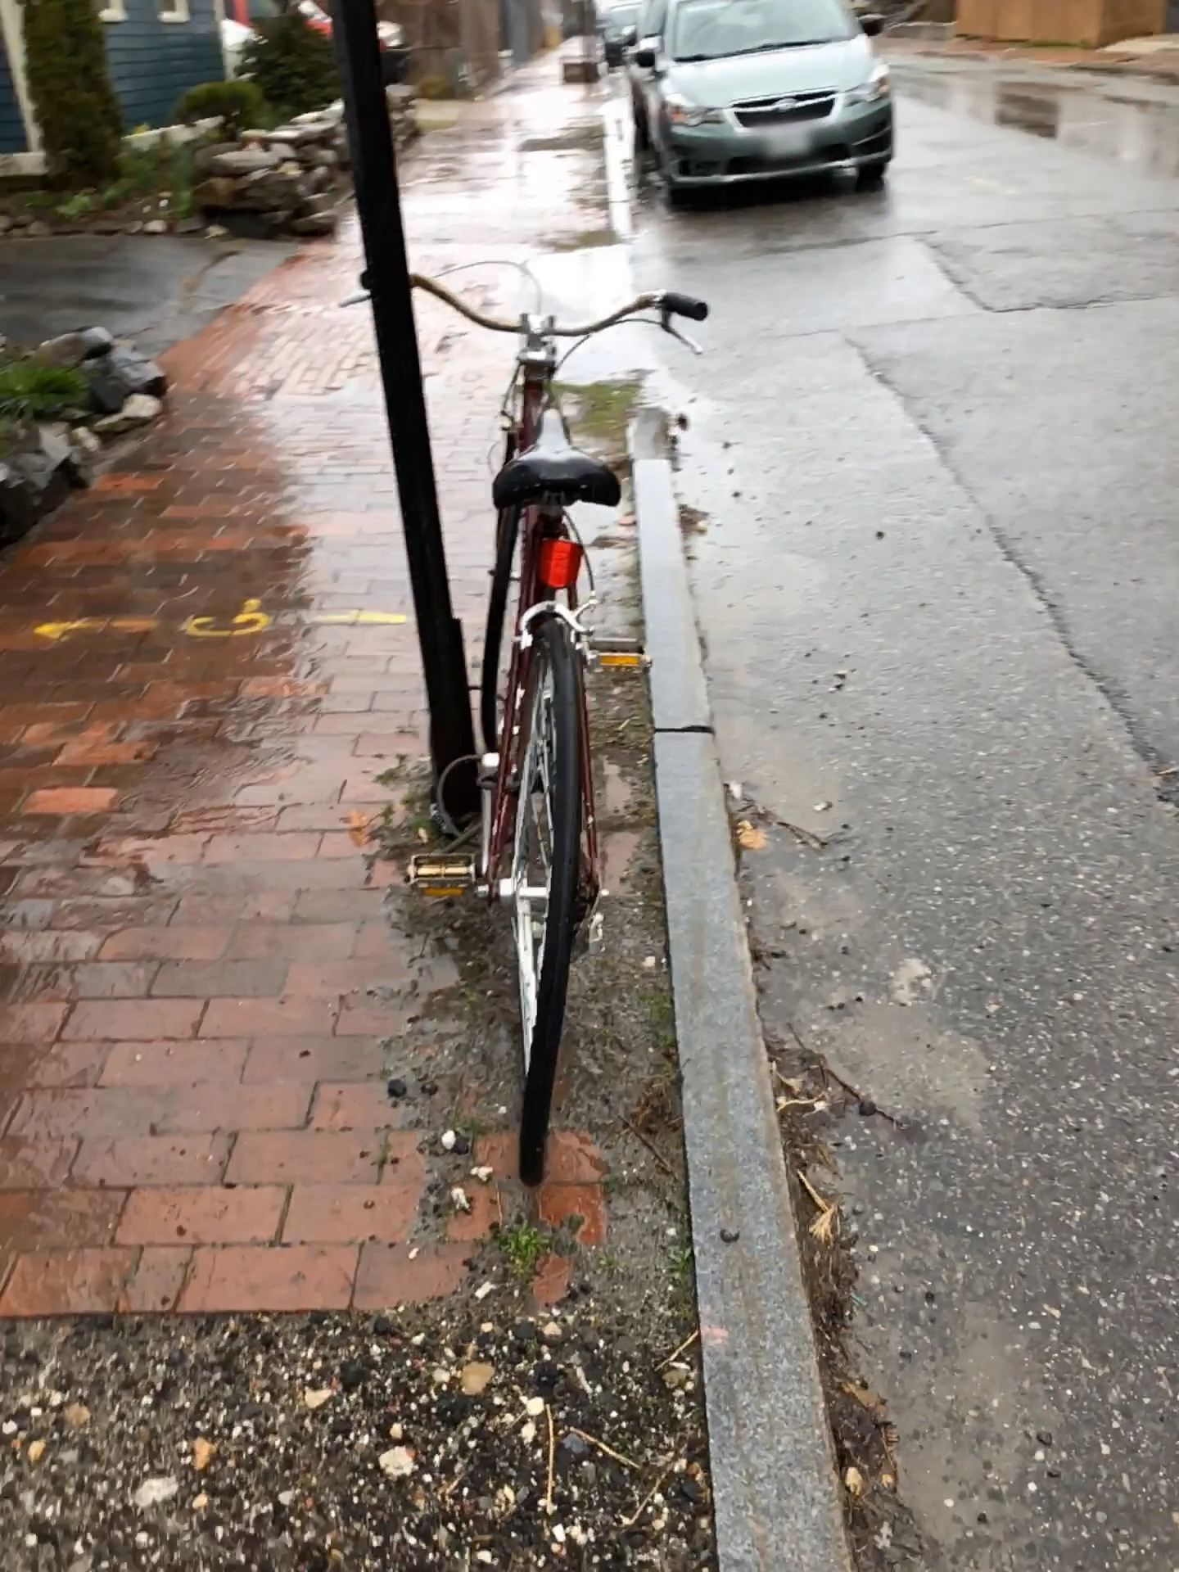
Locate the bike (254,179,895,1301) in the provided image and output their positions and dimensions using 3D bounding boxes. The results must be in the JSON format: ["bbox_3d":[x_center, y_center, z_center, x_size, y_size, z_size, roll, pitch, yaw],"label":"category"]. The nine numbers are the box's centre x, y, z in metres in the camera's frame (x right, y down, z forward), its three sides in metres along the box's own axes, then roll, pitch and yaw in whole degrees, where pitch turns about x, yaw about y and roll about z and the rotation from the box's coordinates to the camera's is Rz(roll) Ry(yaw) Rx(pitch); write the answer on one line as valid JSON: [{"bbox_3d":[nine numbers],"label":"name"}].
[{"bbox_3d":[-0.016,-0.270,1.906,0.499,0.907,1.617,-3,32,0],"label":"bike"}]
